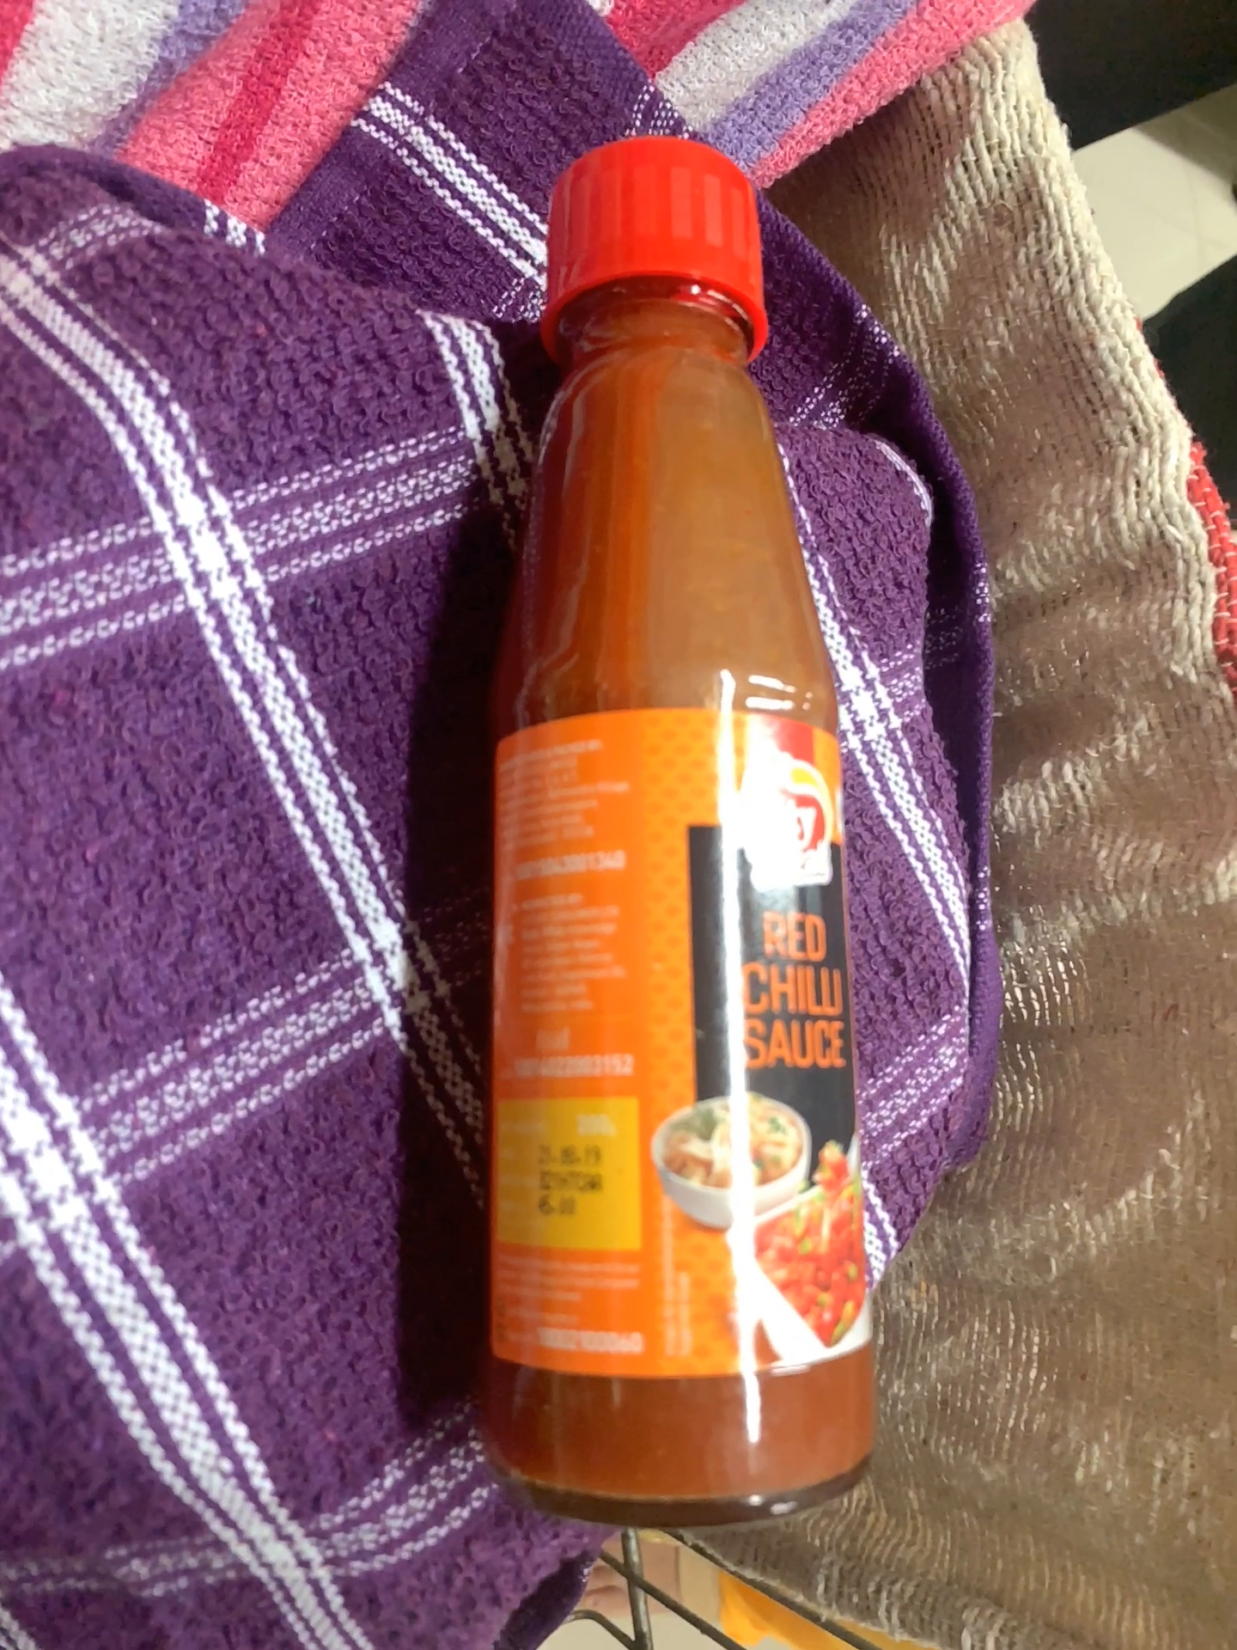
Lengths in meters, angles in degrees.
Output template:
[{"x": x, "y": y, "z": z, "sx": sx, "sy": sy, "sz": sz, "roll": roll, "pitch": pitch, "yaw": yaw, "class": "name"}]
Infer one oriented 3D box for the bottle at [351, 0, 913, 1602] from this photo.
[{"x": 0.000, "y": -0.015, "z": 0.158, "sx": 0.050, "sy": 0.040, "sz": 0.180, "roll": 5, "pitch": 80, "yaw": -32, "class": "bottle"}]
